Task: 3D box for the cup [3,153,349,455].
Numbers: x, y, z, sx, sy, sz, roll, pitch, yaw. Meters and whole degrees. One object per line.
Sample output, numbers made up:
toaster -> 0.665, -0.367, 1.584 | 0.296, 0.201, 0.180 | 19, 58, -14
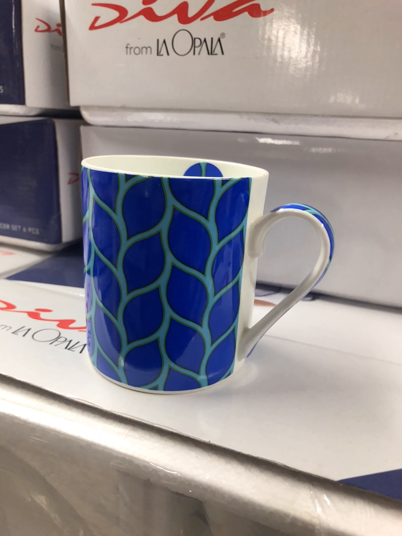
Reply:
cup -> -0.006, 0.002, 0.200 | 0.120, 0.090, 0.080 | 9, 20, 18
